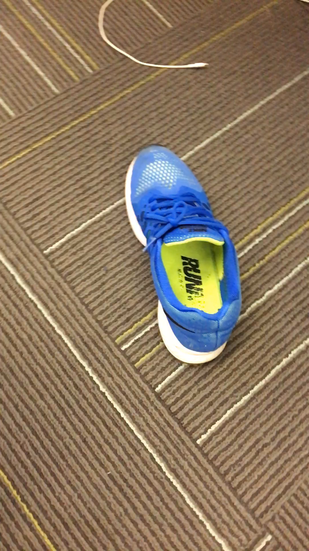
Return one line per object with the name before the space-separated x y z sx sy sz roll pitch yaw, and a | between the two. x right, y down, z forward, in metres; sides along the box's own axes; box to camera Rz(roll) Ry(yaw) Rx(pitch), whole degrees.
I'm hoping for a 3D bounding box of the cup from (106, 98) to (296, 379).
cup | 0.039 -0.048 0.549 0.130 0.100 0.300 -12 71 -10
